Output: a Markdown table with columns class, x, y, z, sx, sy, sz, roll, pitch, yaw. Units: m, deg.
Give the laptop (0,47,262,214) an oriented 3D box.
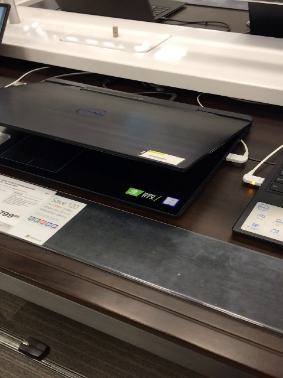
| class | x | y | z | sx | sy | sz | roll | pitch | yaw |
| --- | --- | --- | --- | --- | --- | --- | --- | --- | --- |
| laptop | -0.078 | -0.123 | 0.627 | 0.439 | 0.085 | 0.261 | 18 | 48 | 20 |
